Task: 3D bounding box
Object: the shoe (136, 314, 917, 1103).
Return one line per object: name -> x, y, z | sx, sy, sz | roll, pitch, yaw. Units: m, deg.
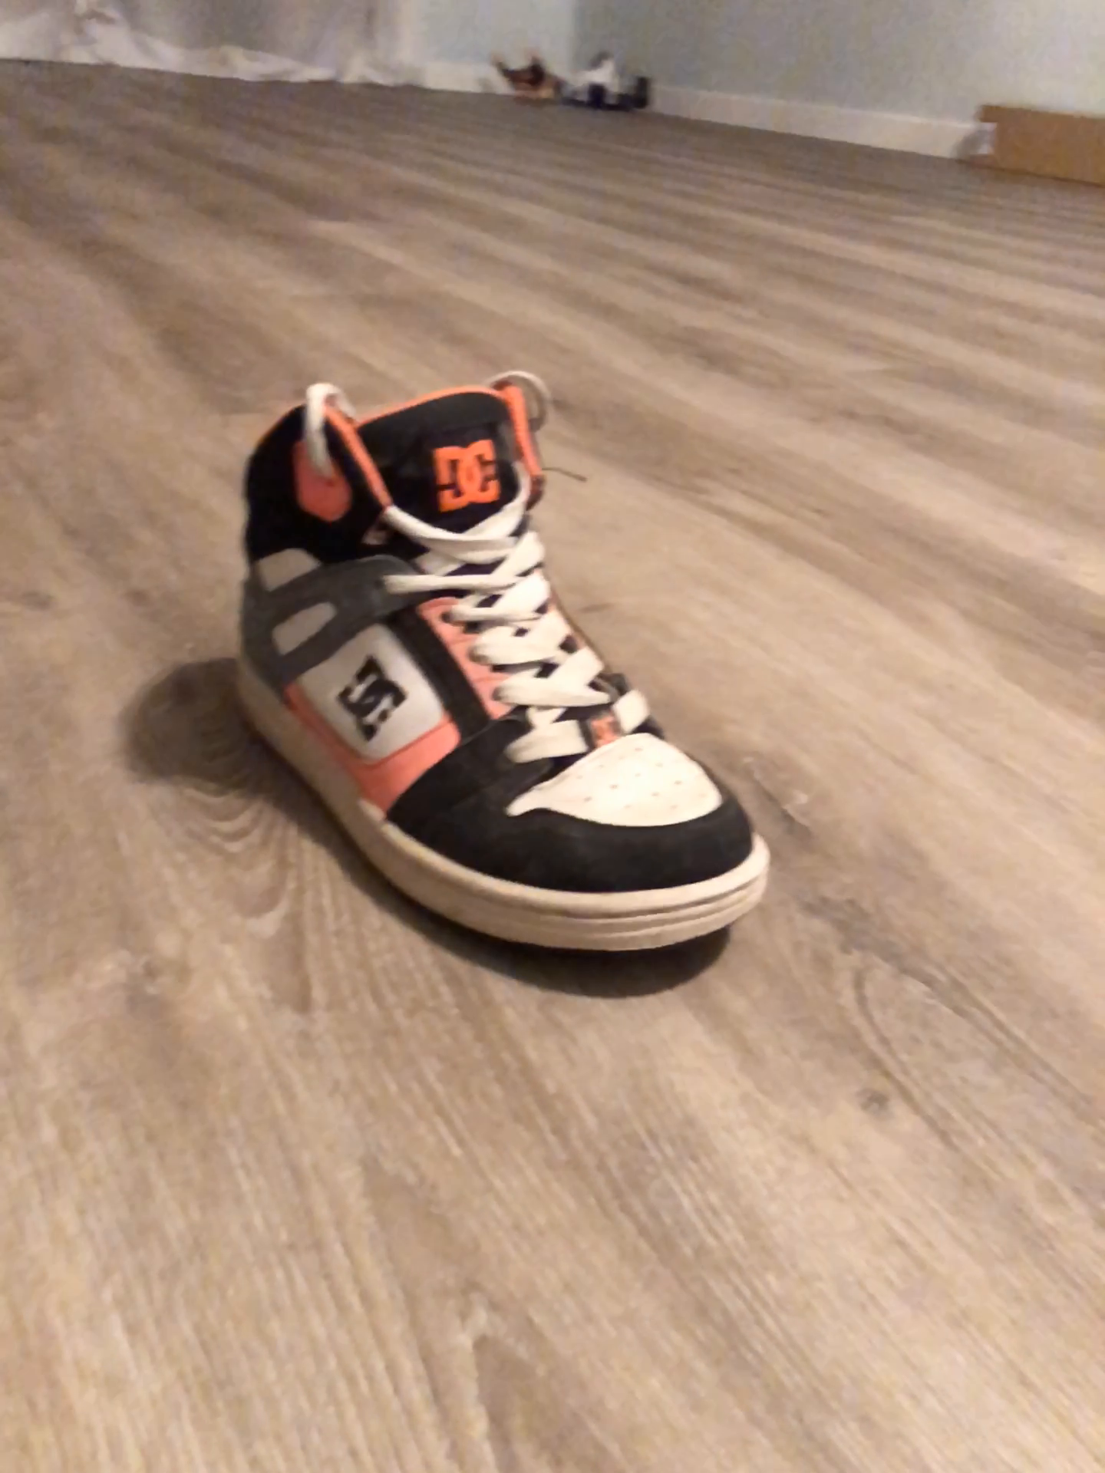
shoe -> -0.029, -0.032, 0.376 | 0.090, 0.139, 0.241 | -18, 36, -36
